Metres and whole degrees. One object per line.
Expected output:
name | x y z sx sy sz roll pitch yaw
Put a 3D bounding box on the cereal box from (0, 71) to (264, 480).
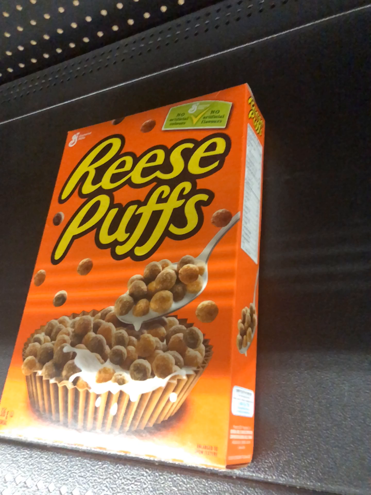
cereal box | -0.043 0.009 0.340 0.201 0.050 0.291 -6 65 27
